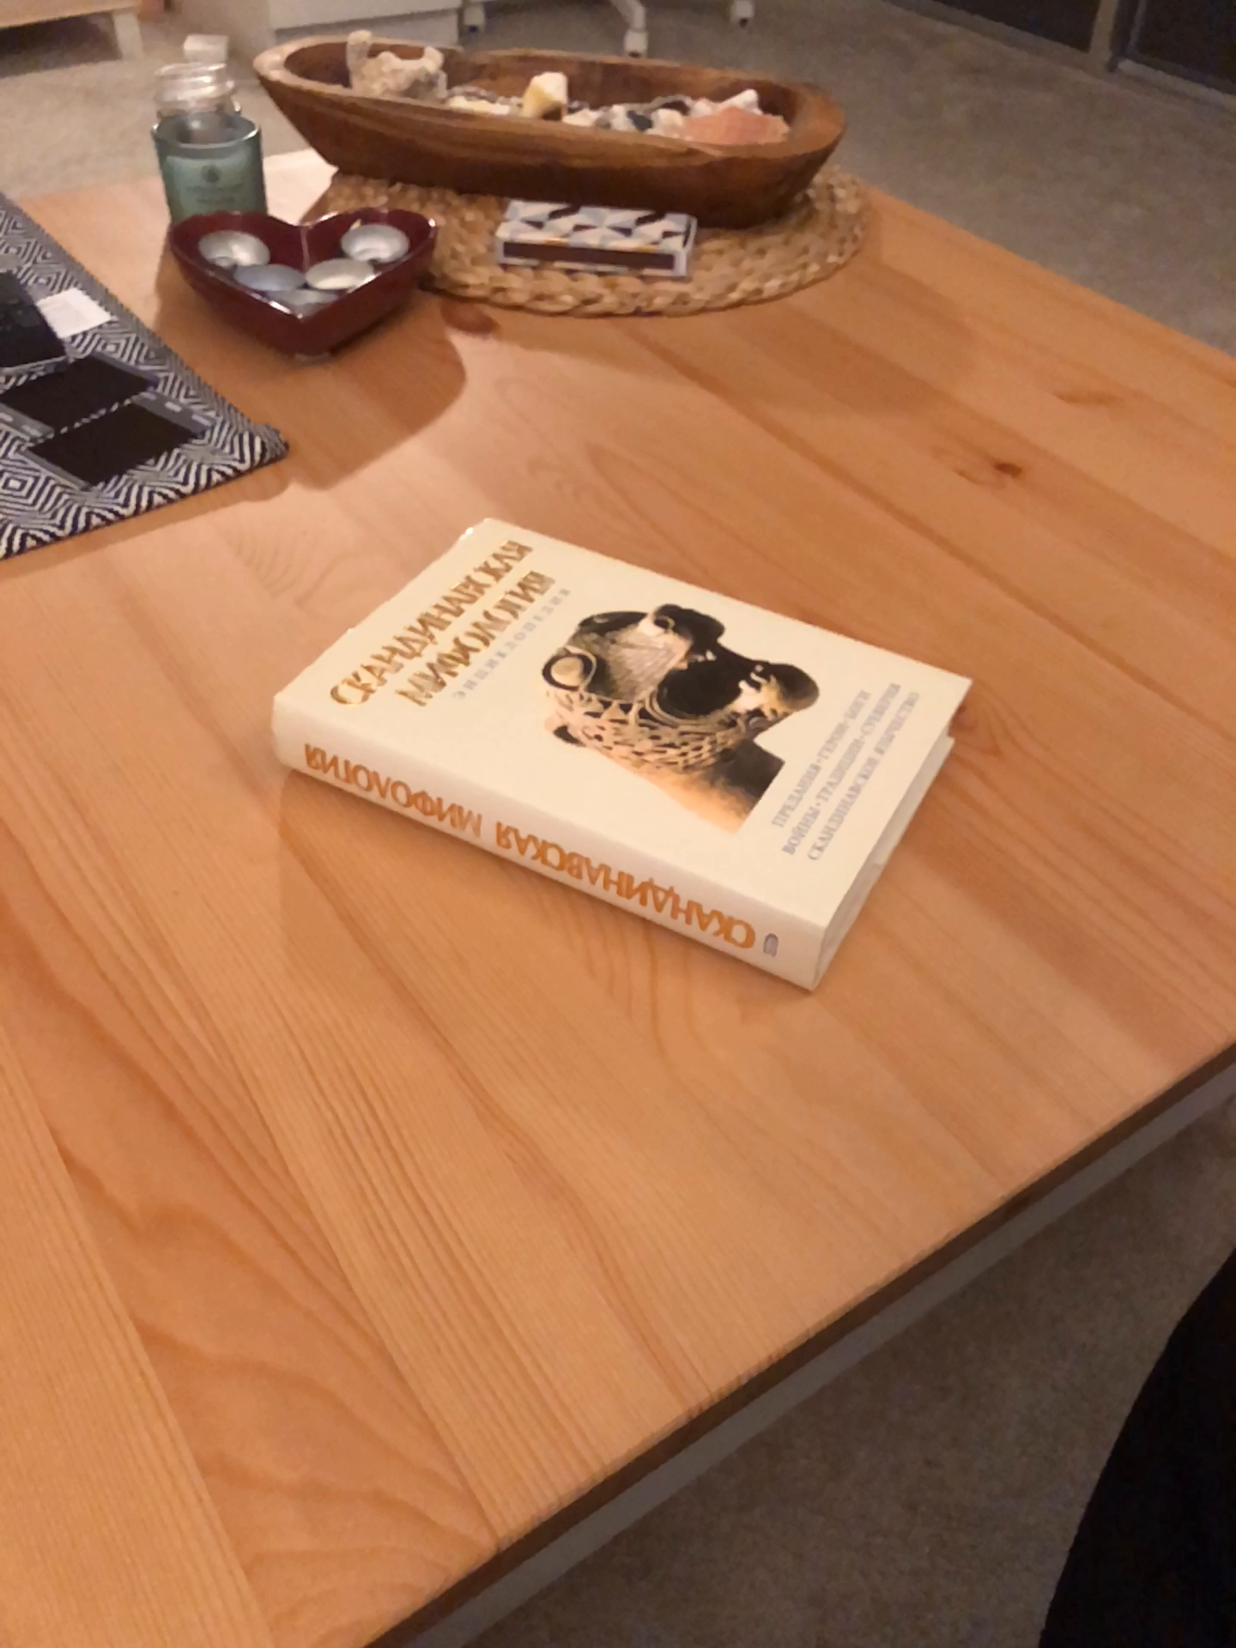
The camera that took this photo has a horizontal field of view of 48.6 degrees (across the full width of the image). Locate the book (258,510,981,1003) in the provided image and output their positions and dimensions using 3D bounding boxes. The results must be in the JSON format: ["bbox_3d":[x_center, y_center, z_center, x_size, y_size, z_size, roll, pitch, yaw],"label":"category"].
[{"bbox_3d":[0.004,-0.038,0.504,0.215,0.030,0.151,22,47,19],"label":"book"}]
